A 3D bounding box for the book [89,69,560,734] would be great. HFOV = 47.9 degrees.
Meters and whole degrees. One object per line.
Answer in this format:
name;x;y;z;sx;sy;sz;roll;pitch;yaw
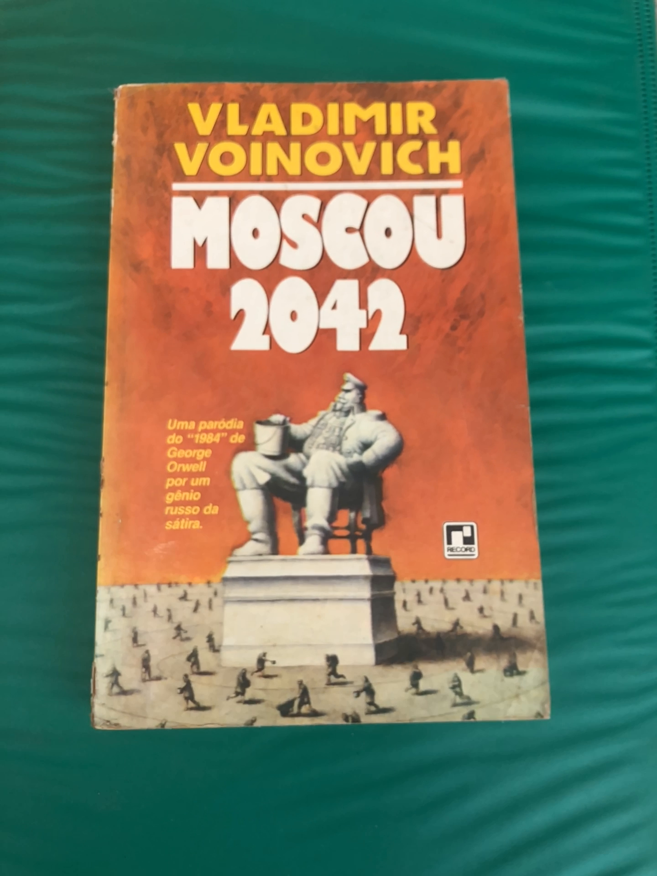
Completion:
book;-0.002;-0.018;0.234;0.132;0.020;0.203;-1;81;-2
